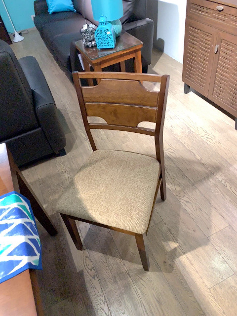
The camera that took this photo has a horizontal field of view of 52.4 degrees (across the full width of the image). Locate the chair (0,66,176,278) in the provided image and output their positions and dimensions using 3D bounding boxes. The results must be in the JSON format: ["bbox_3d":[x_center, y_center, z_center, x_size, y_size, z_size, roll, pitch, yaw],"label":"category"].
[{"bbox_3d":[-0.026,0.090,1.155,0.471,0.827,0.531,10,49,19],"label":"chair"}]
